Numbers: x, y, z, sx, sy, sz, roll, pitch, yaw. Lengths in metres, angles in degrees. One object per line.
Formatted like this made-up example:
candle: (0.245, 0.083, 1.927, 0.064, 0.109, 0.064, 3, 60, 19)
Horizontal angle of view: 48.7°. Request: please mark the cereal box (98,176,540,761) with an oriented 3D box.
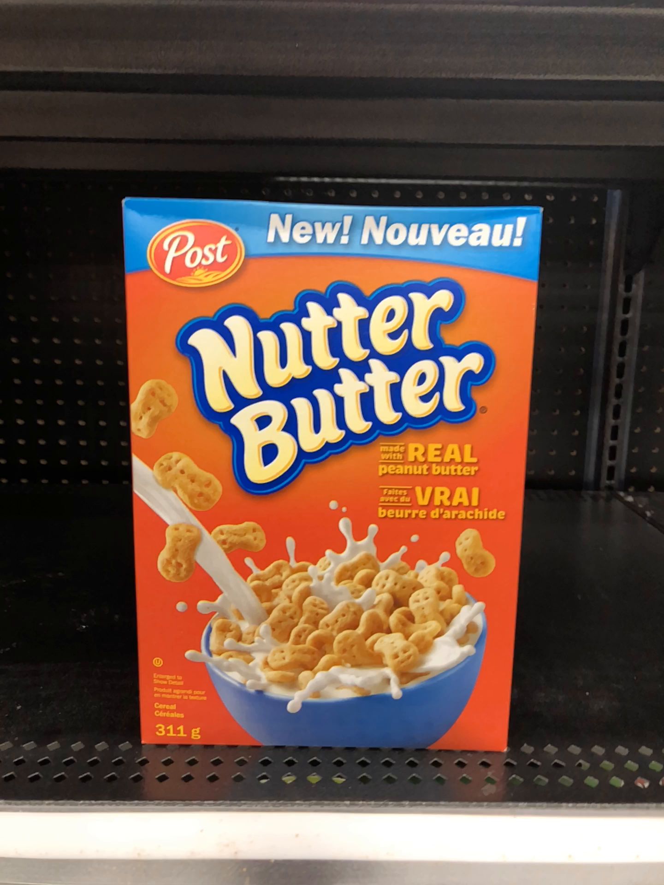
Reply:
cereal box: (-0.007, 0.017, 0.373, 0.190, 0.279, 0.060, 1, 12, 1)
